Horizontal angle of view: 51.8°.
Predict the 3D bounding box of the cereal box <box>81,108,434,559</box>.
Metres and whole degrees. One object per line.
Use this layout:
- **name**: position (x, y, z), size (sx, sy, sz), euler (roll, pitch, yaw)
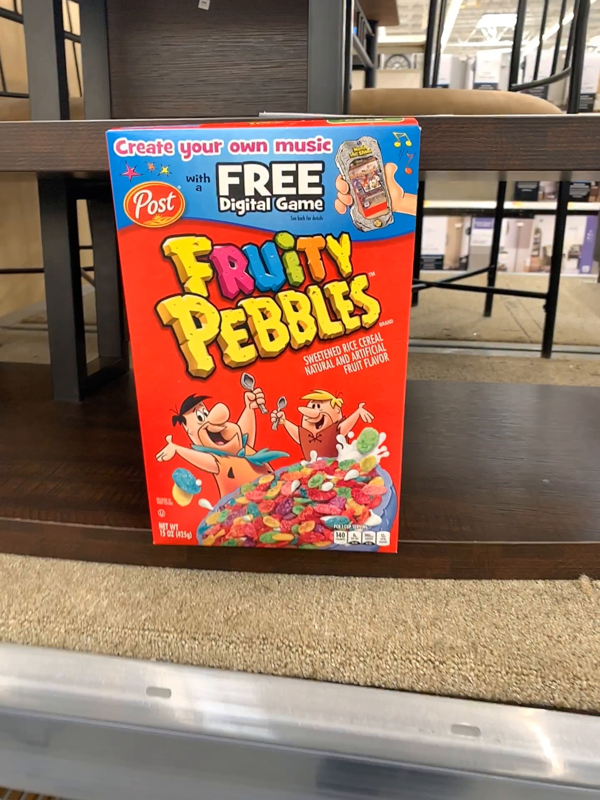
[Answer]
- **cereal box**: position (-0.024, -0.038, 0.447), size (0.210, 0.308, 0.060), euler (1, 21, 4)
